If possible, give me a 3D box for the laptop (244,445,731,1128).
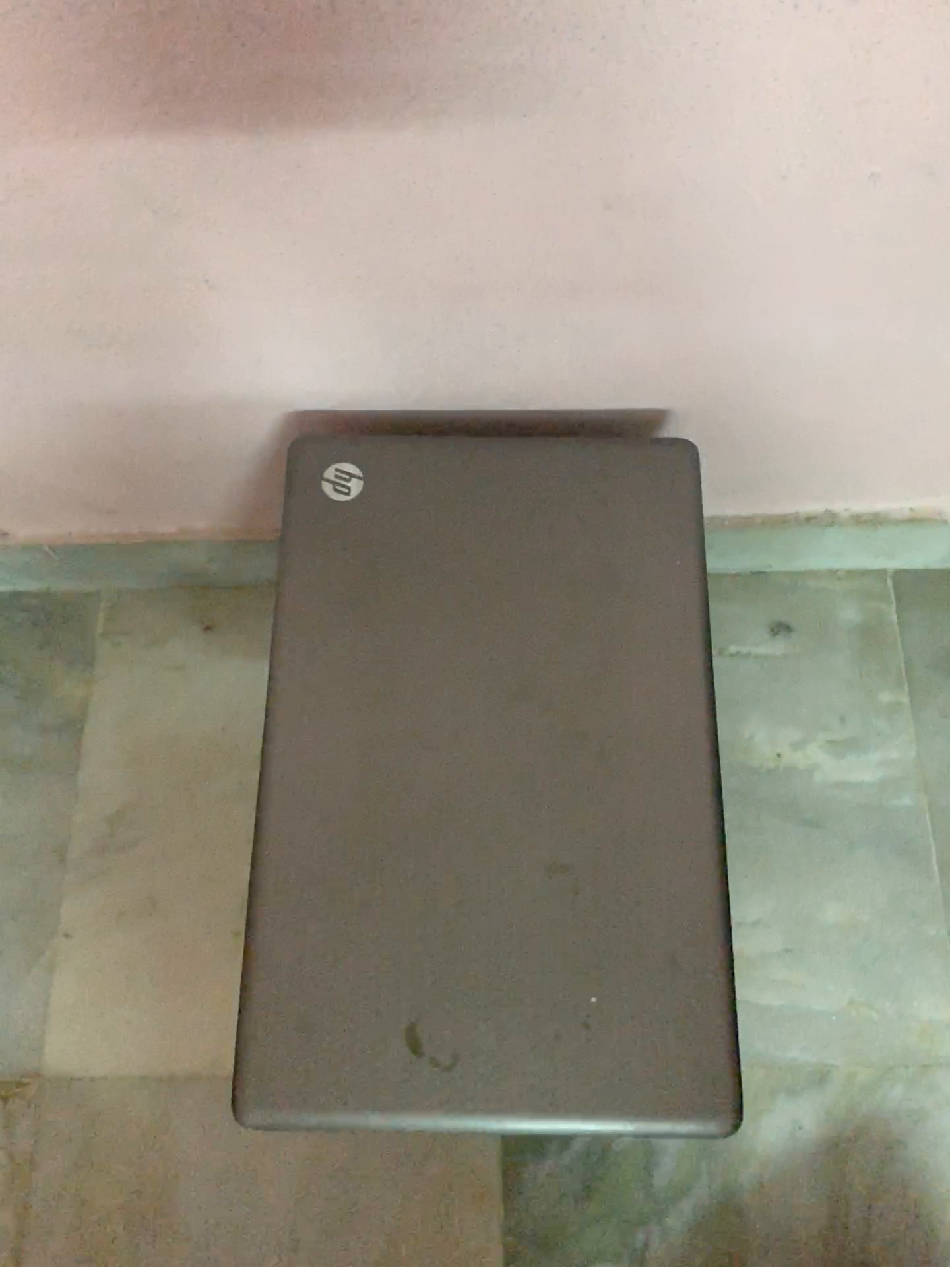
[{"bbox_3d":[0.009,0.064,0.543,0.242,0.003,0.379,1,72,1],"label":"laptop"}]
